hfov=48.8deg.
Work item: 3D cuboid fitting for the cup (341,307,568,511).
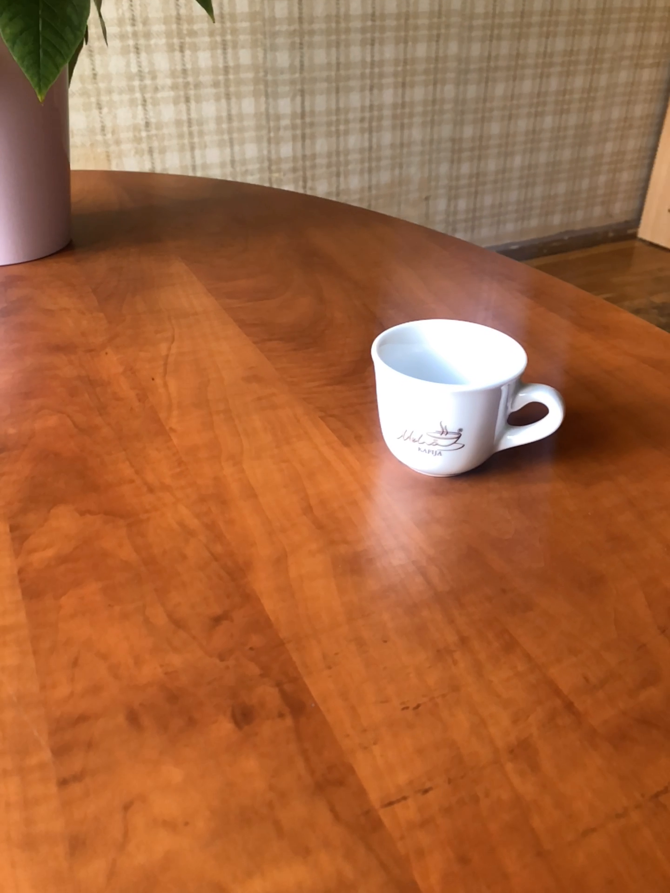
[{"bbox_3d":[0.051,-0.019,0.313,0.083,0.050,0.065,9,34,12],"label":"cup"}]
